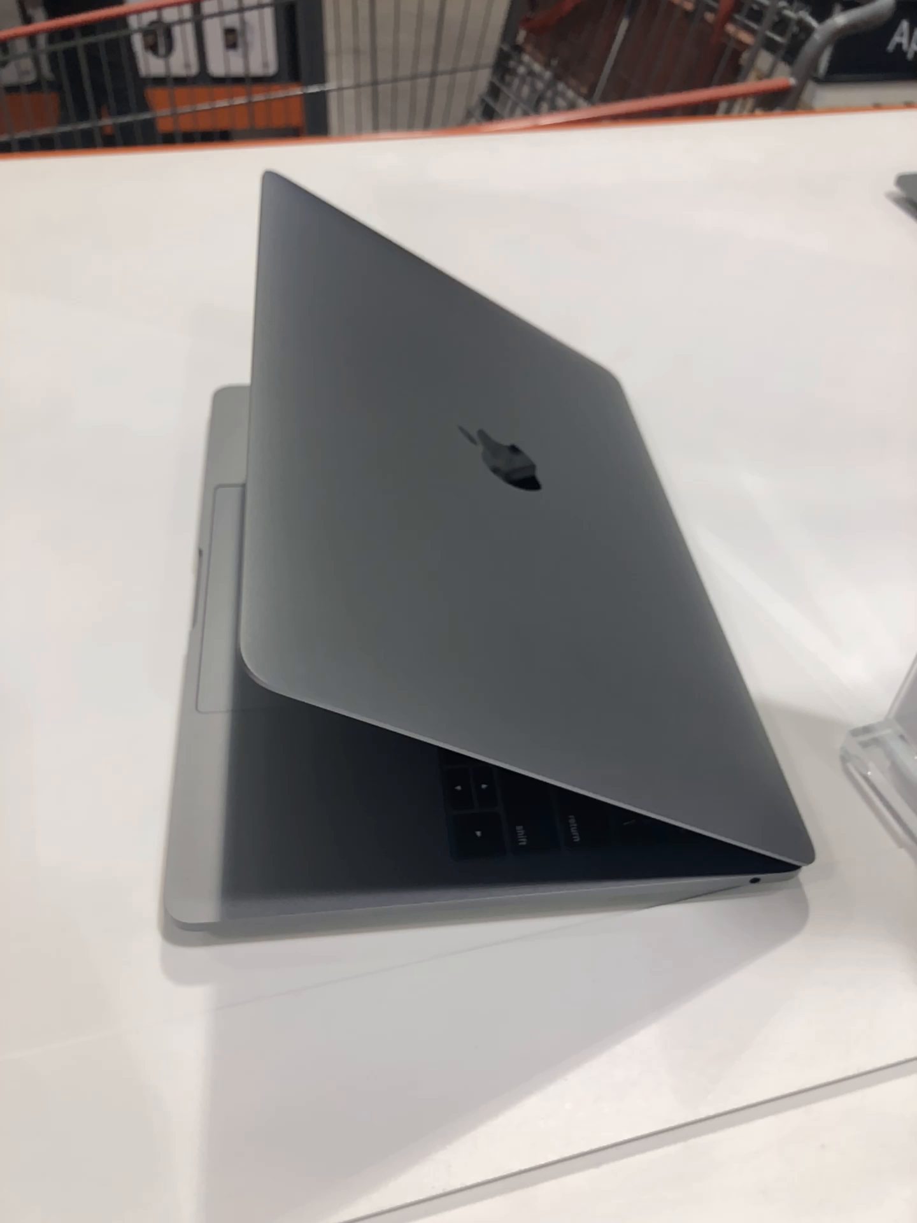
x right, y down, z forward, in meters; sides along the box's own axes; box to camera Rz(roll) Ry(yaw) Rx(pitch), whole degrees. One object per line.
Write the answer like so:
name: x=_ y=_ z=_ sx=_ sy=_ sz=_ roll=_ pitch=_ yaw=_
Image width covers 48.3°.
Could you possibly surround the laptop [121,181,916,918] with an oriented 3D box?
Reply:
laptop: x=0.001 y=-0.051 z=0.399 sx=0.204 sy=0.109 sz=0.296 roll=-3 pitch=45 yaw=-6
